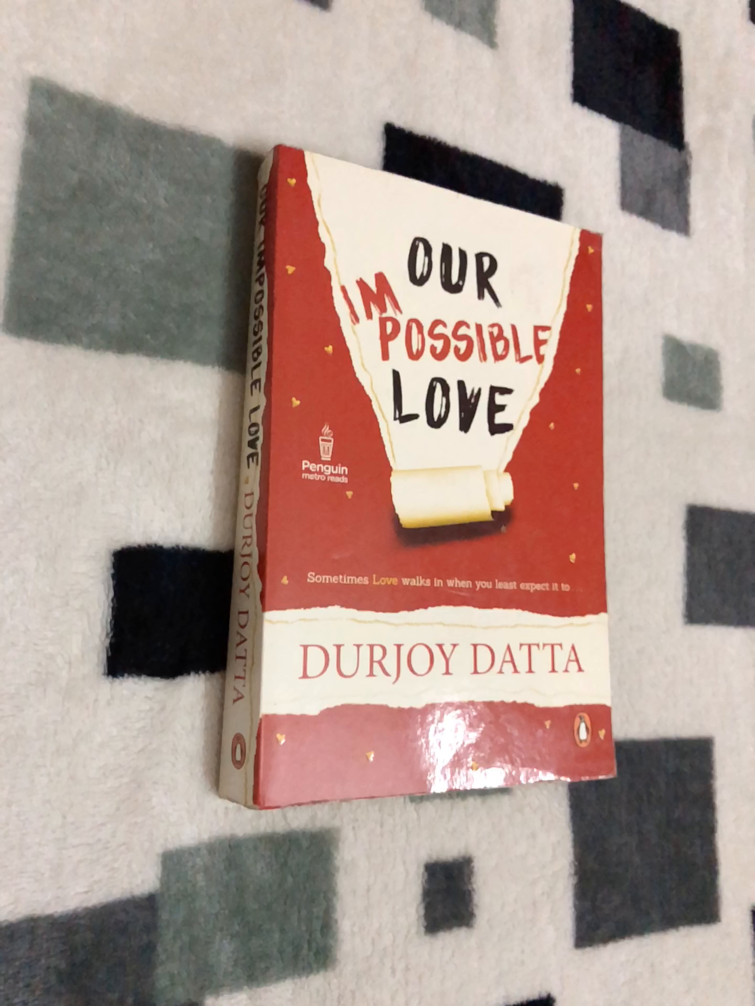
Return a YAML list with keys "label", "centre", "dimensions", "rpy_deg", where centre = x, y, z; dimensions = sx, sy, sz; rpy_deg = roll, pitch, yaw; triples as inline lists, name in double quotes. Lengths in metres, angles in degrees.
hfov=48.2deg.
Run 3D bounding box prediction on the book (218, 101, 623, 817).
- label: "book"
  centre: [0.021, -0.010, 0.277]
  dimensions: [0.131, 0.030, 0.200]
  rpy_deg: [5, 83, -28]
